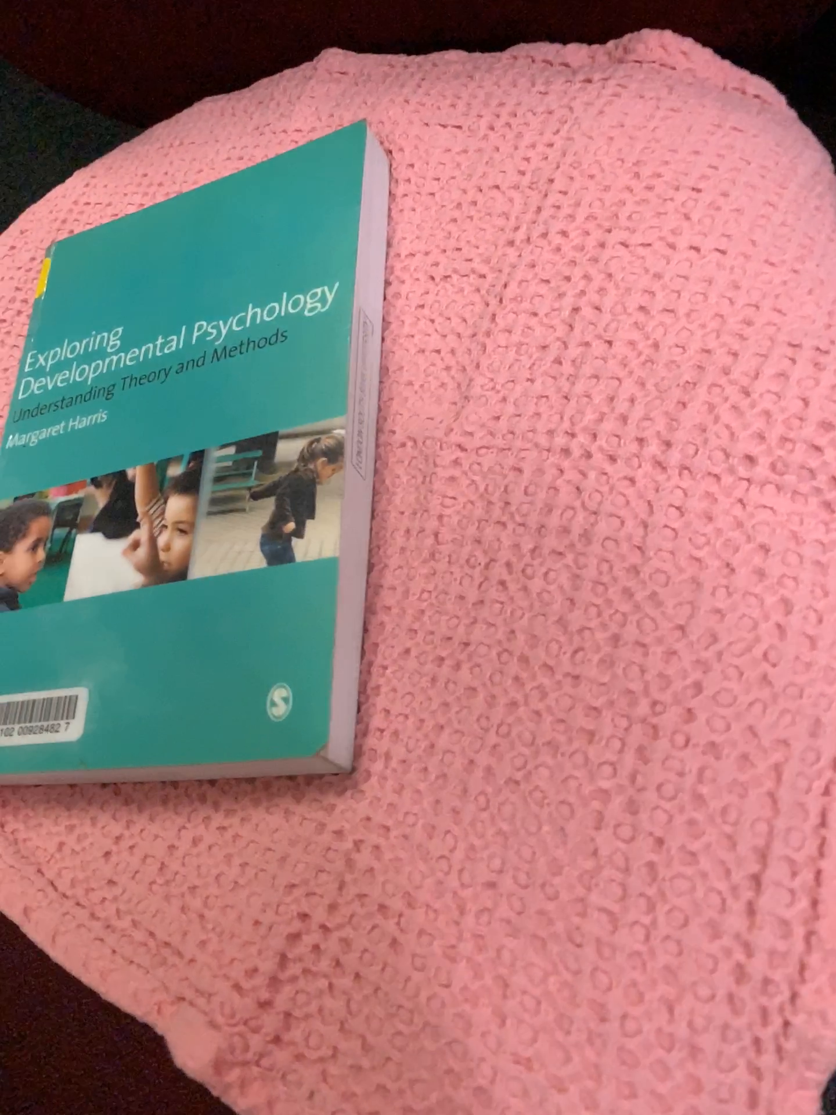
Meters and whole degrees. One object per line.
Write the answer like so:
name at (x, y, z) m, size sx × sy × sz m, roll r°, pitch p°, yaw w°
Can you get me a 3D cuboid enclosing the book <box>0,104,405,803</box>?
book at (-0.094, -0.040, 0.321) m, size 0.175 × 0.030 × 0.246 m, roll -9°, pitch 64°, yaw 24°
